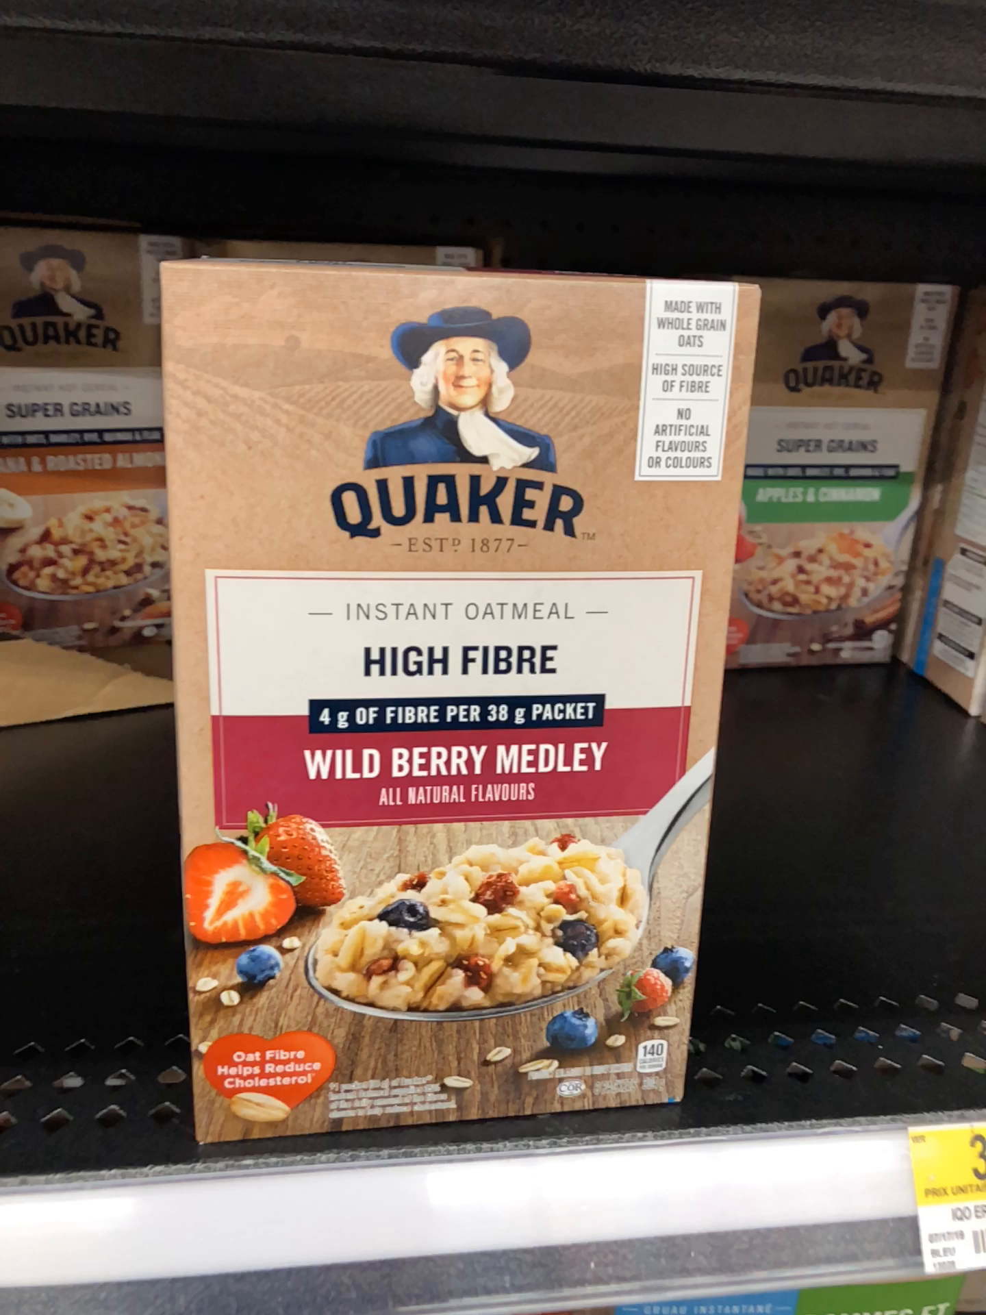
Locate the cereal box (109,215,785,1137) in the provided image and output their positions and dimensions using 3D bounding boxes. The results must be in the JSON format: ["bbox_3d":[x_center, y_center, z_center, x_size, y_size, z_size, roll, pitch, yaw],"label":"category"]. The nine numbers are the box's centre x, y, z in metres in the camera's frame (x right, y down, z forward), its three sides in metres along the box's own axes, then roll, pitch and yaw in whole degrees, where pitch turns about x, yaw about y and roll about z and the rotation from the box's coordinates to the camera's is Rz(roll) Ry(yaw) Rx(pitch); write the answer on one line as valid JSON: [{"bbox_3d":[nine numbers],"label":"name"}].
[{"bbox_3d":[-0.013,0.006,0.265,0.130,0.199,0.060,-1,16,-9],"label":"cereal box"}]
